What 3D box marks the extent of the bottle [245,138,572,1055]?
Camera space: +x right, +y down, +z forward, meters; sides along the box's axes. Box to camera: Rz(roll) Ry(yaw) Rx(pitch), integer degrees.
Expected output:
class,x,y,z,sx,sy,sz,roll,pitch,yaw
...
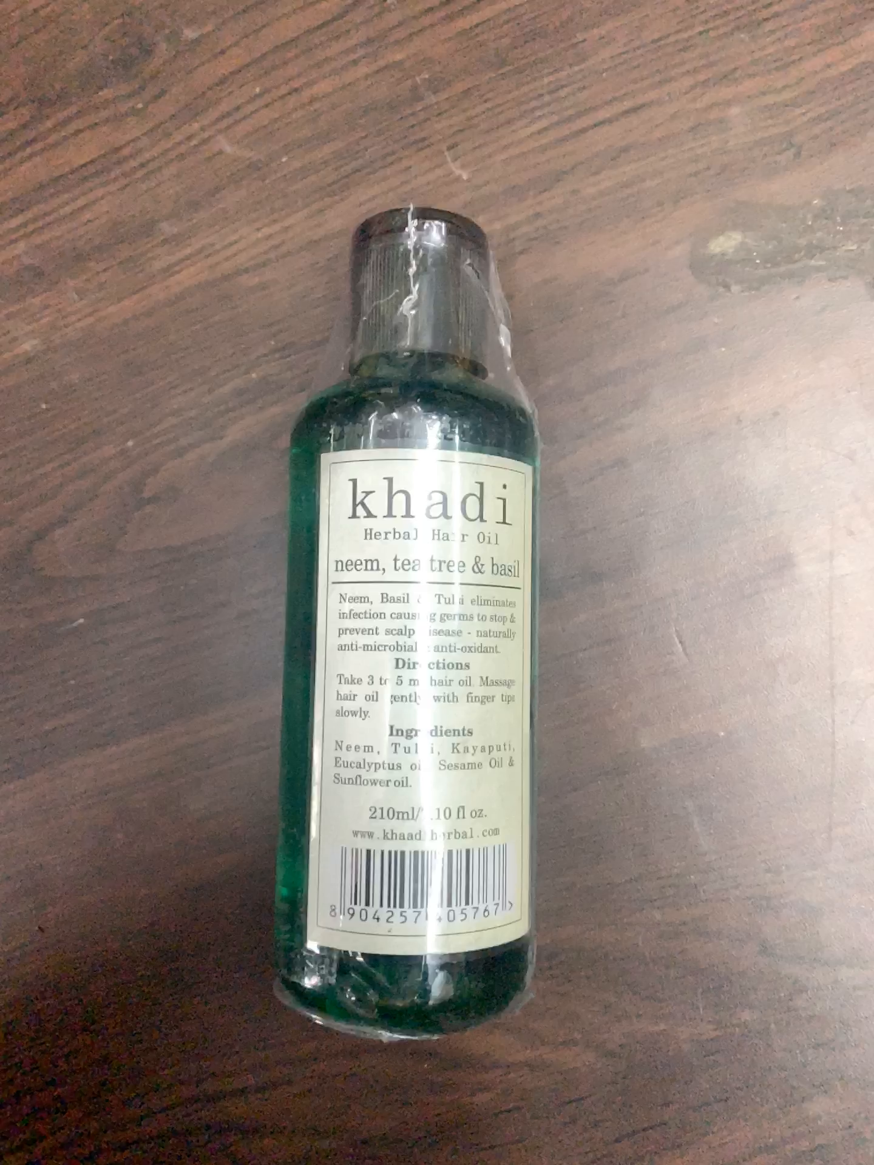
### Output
class,x,y,z,sx,sy,sz,roll,pitch,yaw
bottle,-0.008,0.002,0.181,0.050,0.050,0.150,2,85,-18
